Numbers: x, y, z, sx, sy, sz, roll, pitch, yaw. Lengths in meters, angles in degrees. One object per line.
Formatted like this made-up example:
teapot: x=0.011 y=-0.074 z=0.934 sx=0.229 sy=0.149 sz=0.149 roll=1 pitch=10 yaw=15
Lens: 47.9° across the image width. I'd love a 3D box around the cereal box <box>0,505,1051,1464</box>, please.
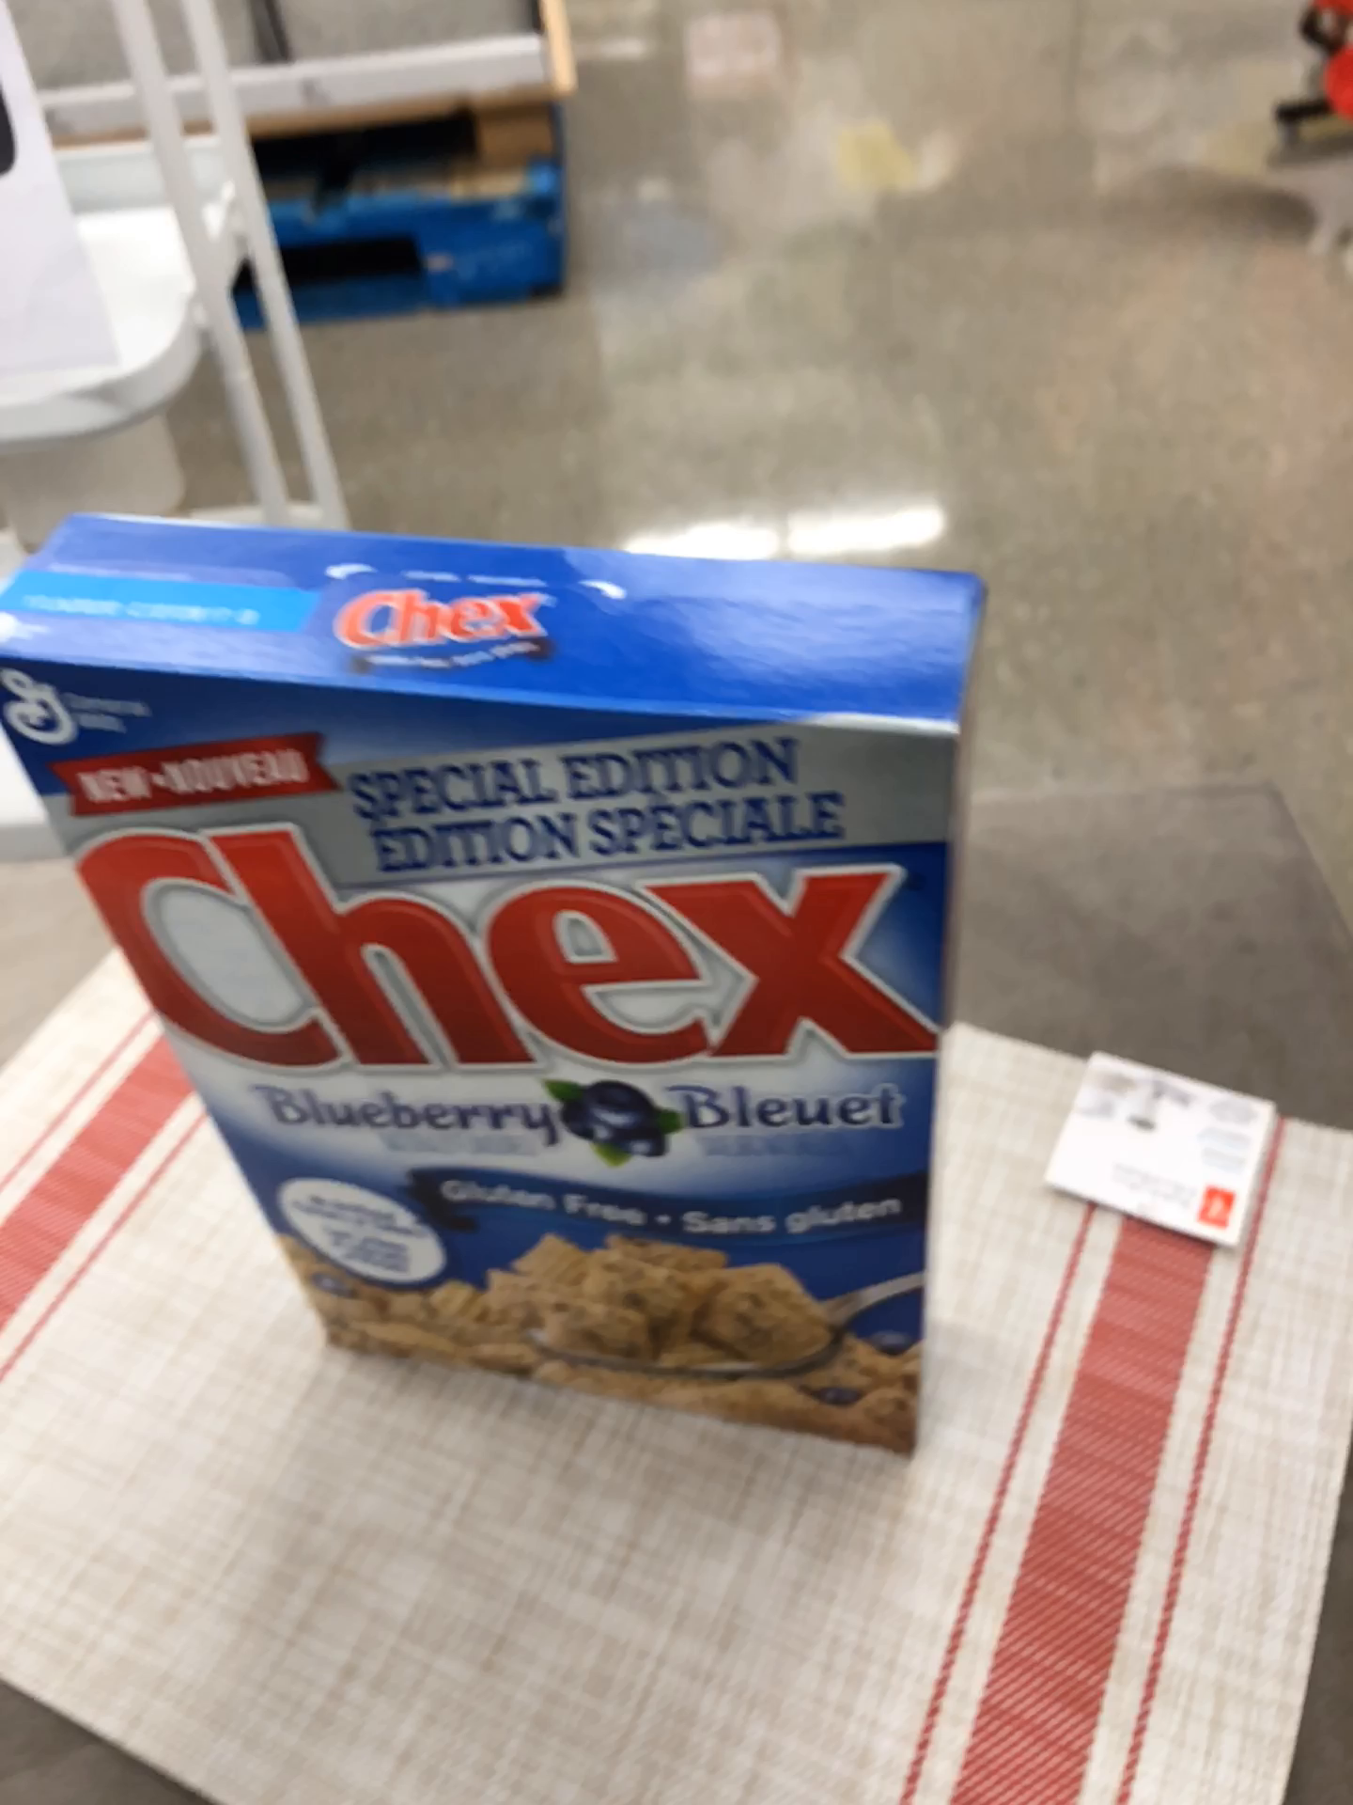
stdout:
cereal box: x=-0.025 y=0.037 z=0.373 sx=0.200 sy=0.259 sz=0.050 roll=7 pitch=47 yaw=13
